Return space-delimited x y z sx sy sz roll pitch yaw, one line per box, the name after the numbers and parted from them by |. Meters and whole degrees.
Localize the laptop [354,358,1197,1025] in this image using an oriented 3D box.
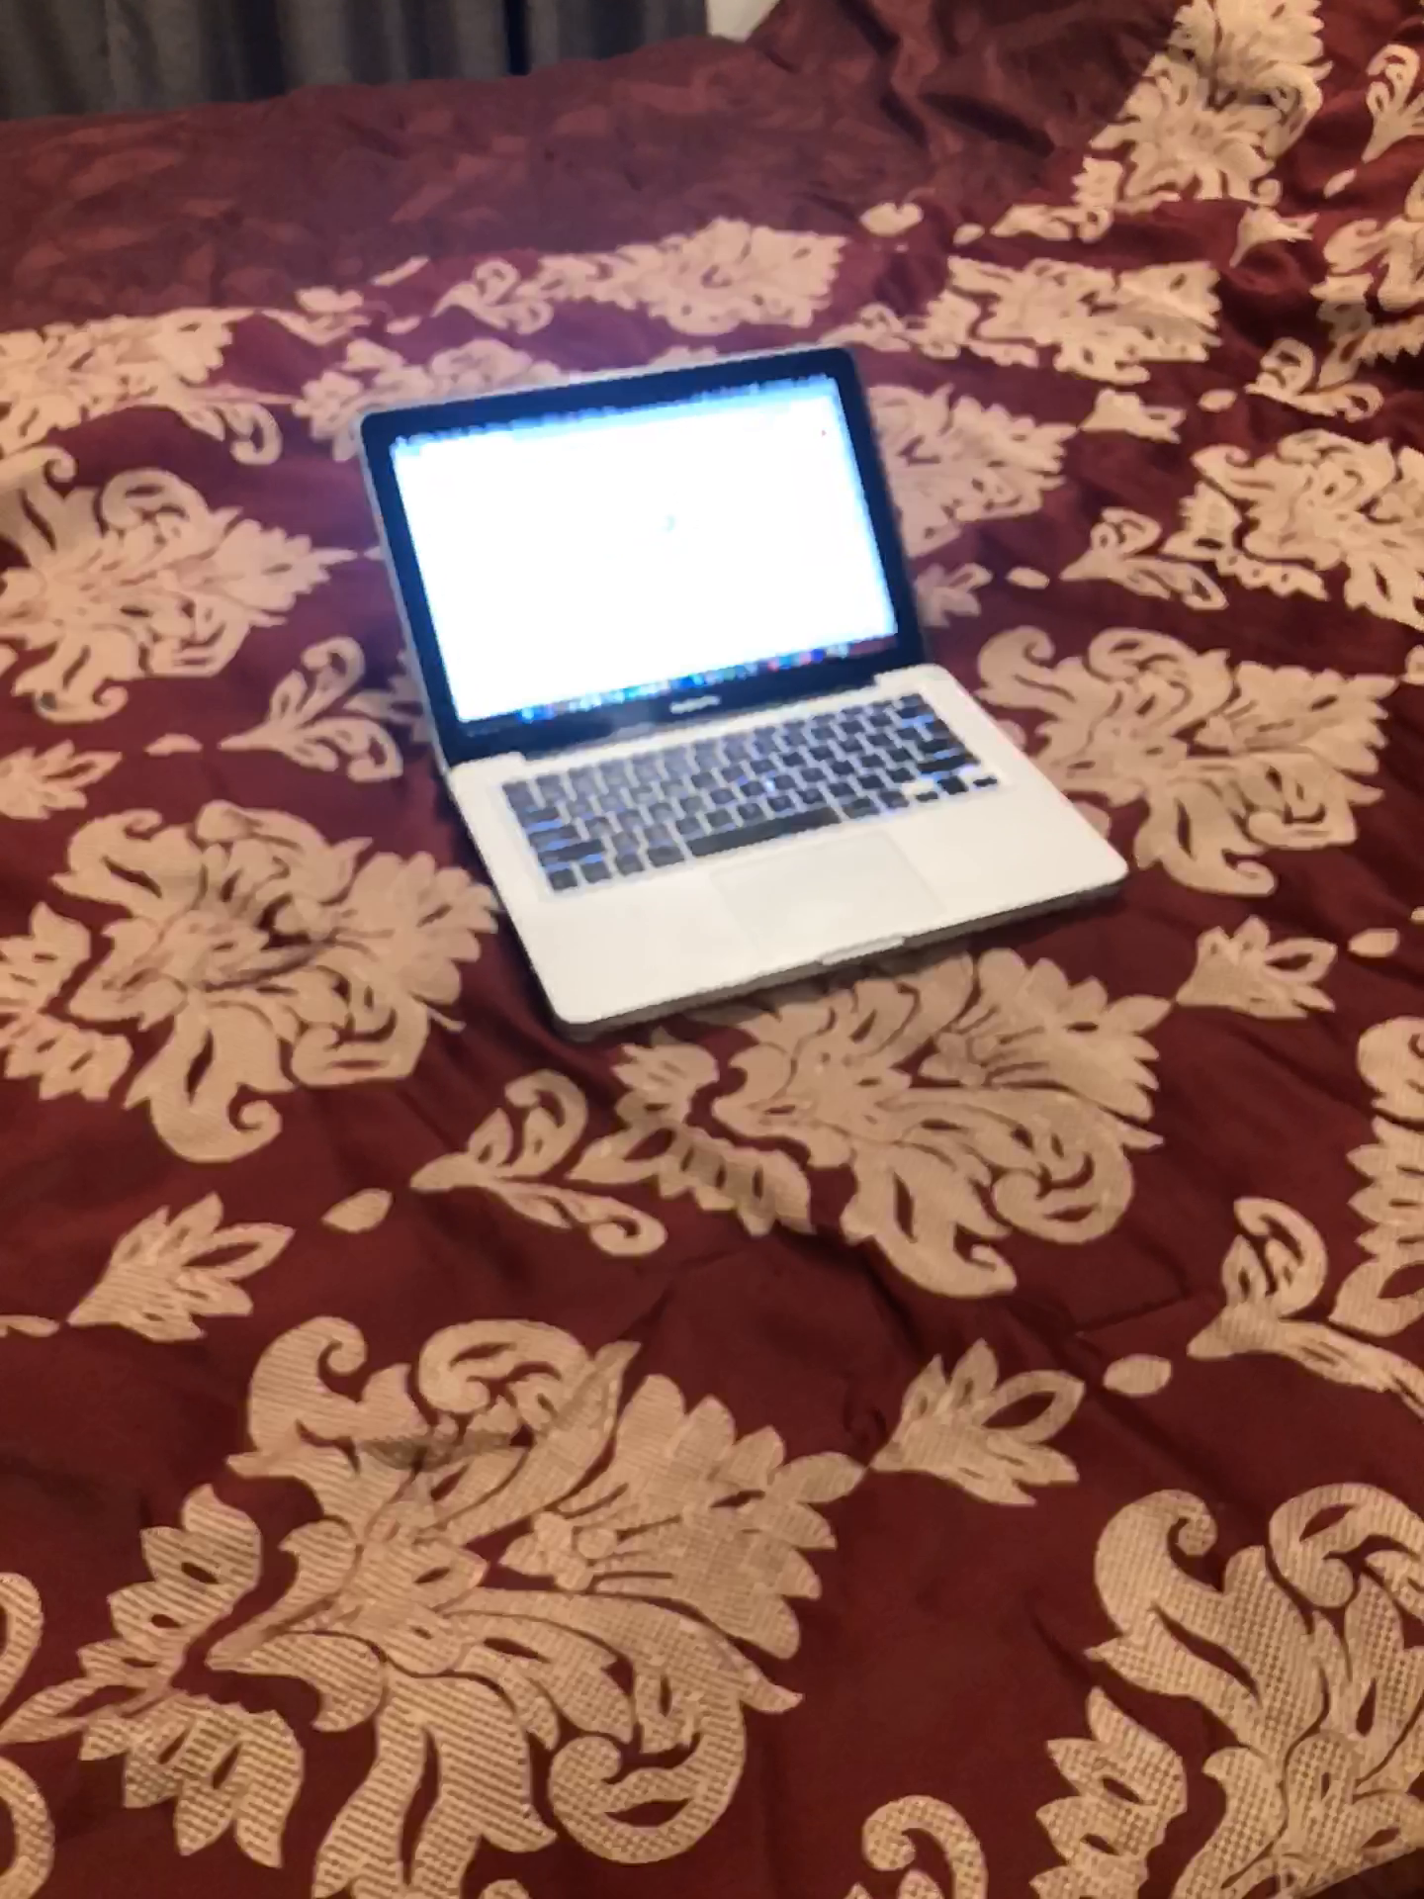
0.010 -0.156 0.812 0.292 0.133 0.344 -15 44 -17 | laptop
